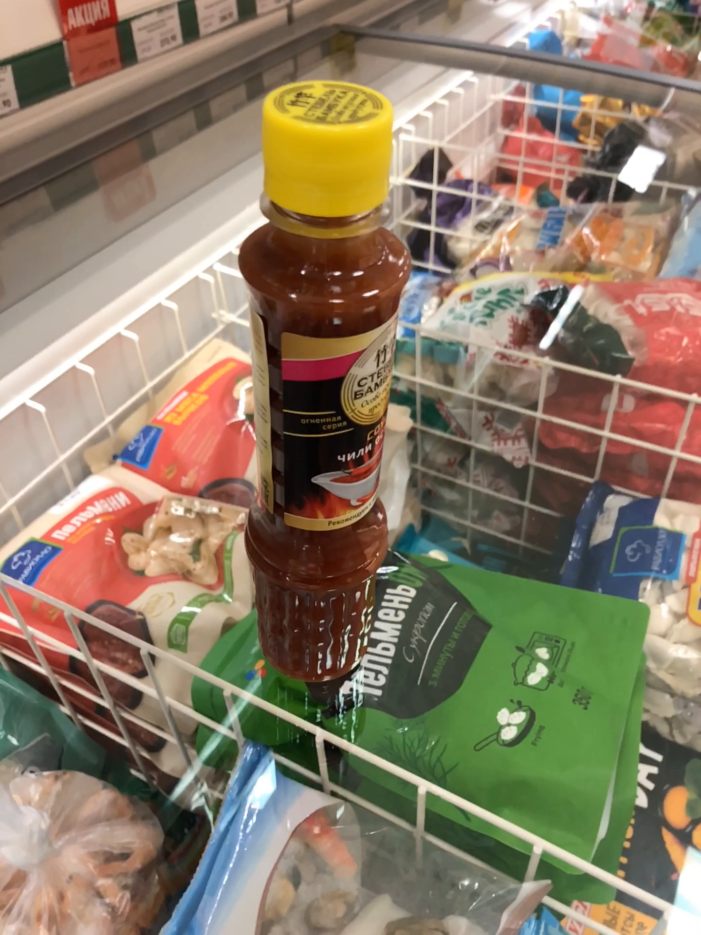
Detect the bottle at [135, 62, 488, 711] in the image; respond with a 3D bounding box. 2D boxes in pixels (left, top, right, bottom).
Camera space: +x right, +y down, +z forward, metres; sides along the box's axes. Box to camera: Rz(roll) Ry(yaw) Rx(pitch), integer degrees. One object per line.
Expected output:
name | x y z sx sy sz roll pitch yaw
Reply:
bottle | -0.008 -0.010 0.249 0.060 0.199 0.060 0 44 0
